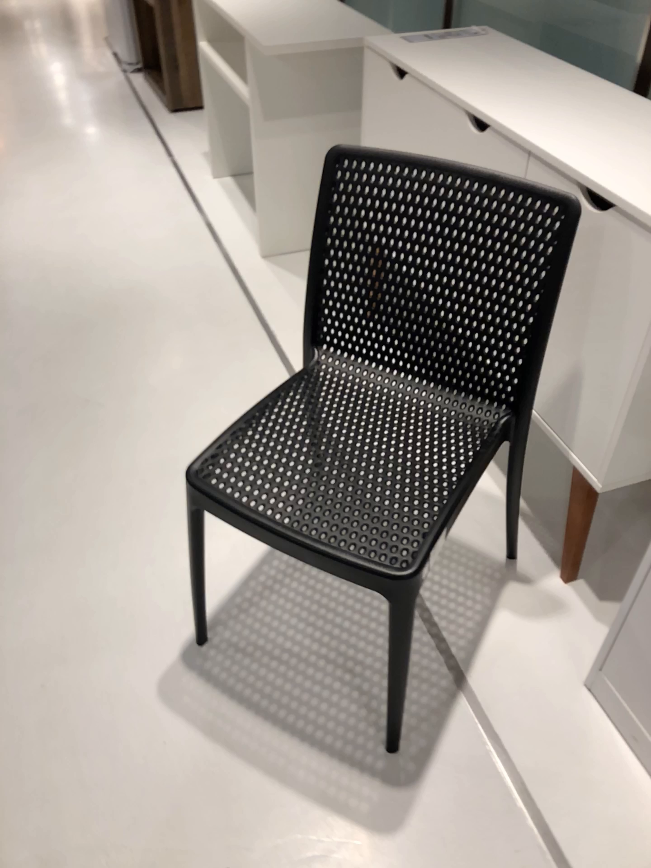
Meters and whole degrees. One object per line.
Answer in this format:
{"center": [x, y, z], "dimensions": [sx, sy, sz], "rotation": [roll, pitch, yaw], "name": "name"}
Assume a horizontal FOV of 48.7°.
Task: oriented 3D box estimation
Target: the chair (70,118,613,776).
{"center": [0.060, 0.018, 1.279], "dimensions": [0.531, 0.864, 0.604], "rotation": [20, 45, 22], "name": "chair"}
